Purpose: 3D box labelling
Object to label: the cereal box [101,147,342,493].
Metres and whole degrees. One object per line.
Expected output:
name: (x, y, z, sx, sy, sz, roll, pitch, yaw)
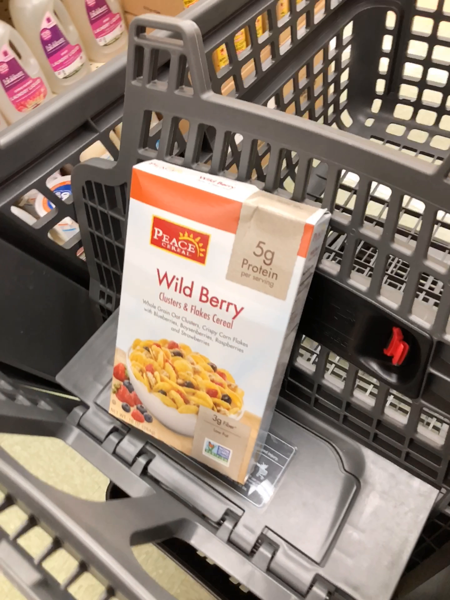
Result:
cereal box: (-0.017, 0.018, 0.436, 0.160, 0.260, 0.060, 21, 27, 21)
